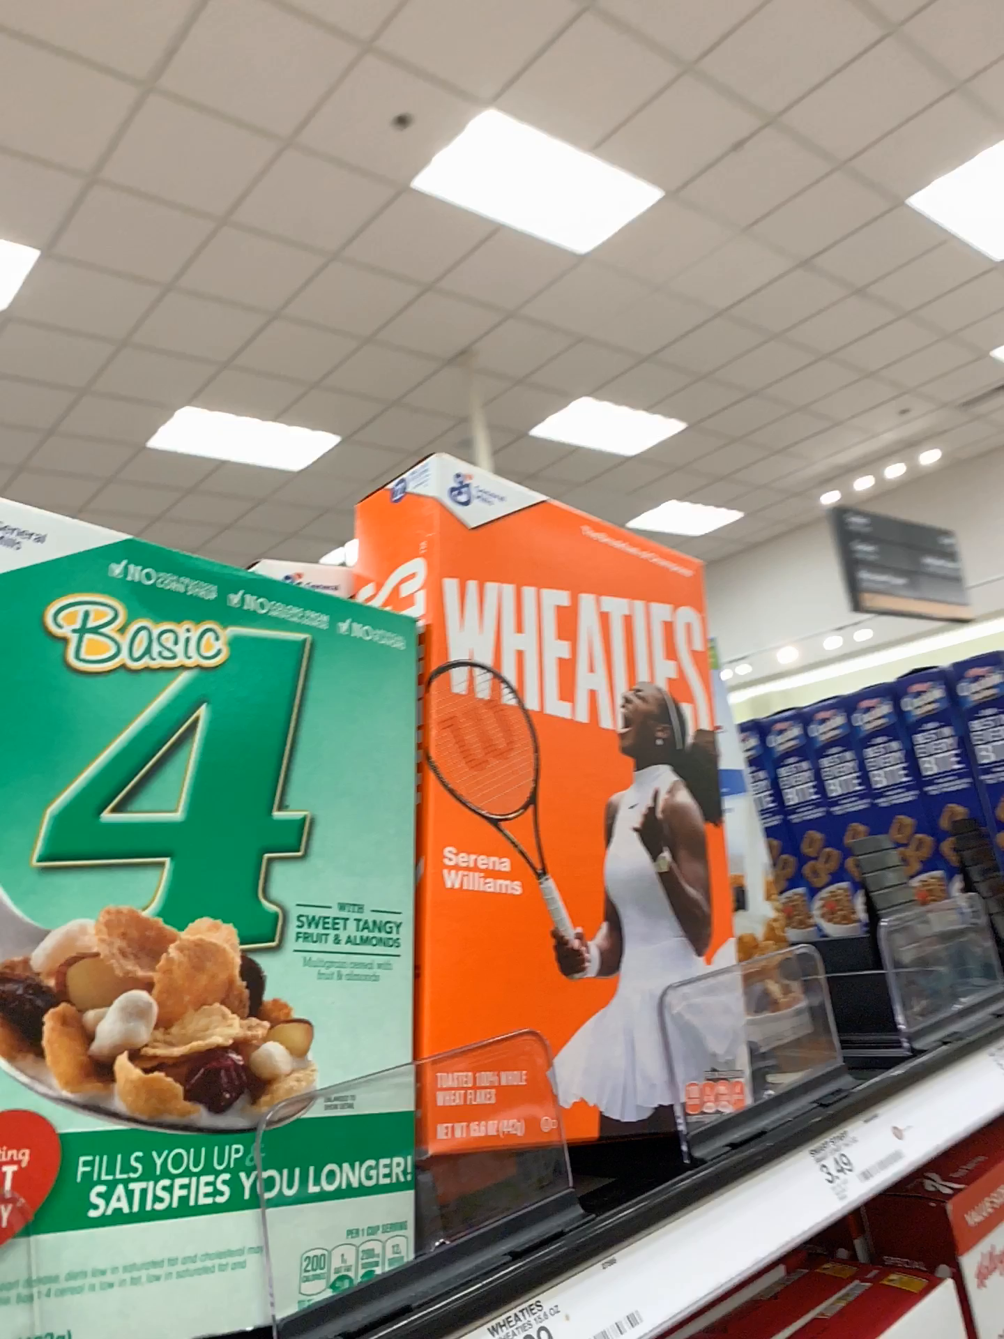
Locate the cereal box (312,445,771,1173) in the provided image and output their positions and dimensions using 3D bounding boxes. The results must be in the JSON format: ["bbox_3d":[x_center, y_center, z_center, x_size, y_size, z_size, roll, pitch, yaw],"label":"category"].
[{"bbox_3d":[0.024,0.067,0.492,0.199,0.291,0.070,16,-25,-37],"label":"cereal box"}]
